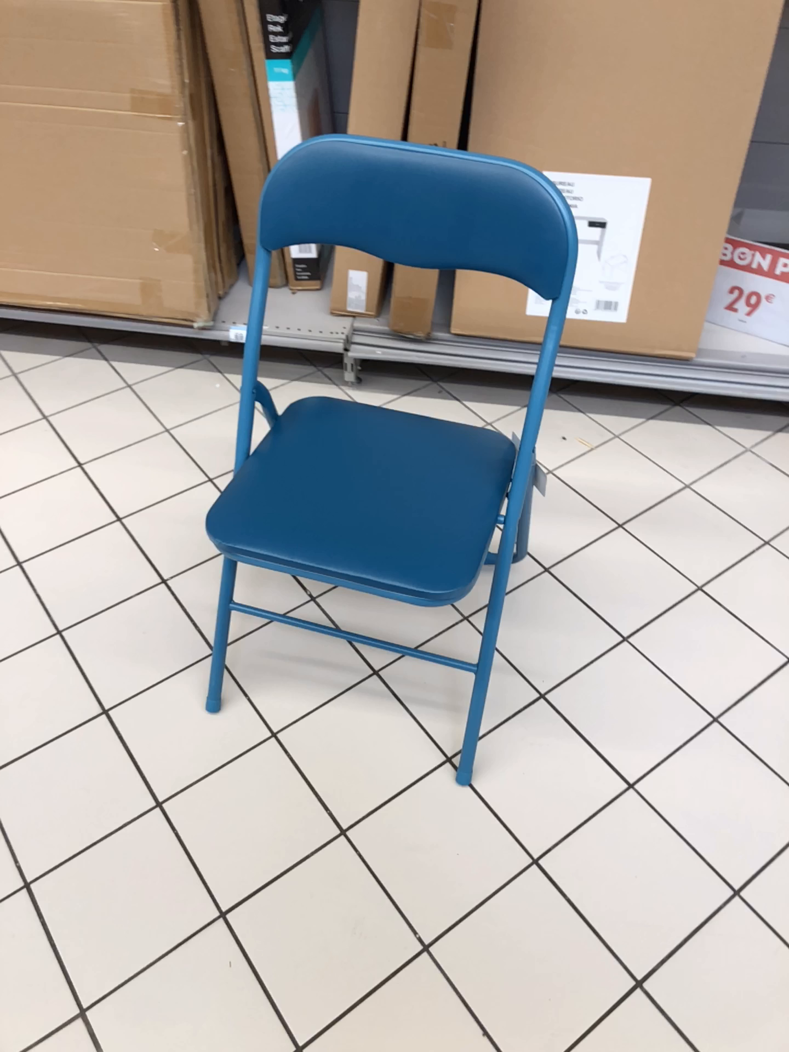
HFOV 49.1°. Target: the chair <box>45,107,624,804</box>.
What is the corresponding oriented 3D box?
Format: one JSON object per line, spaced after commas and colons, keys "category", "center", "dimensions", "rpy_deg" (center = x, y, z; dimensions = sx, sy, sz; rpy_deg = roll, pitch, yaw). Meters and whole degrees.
{"category": "chair", "center": [-0.035, -0.083, 1.244], "dimensions": [0.500, 0.766, 0.503], "rpy_deg": [14, 47, 13]}
